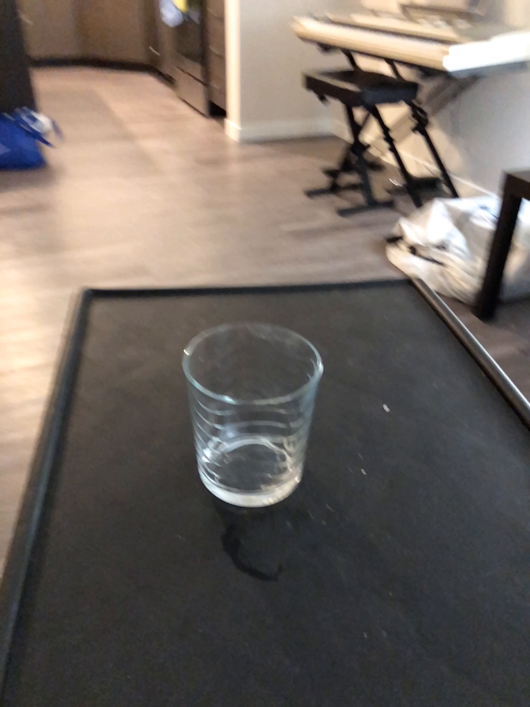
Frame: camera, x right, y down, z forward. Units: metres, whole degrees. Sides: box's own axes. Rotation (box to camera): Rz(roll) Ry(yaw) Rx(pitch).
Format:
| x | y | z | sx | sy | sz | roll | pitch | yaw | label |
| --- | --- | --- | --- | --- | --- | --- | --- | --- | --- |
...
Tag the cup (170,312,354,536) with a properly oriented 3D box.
| x | y | z | sx | sy | sz | roll | pitch | yaw | label |
| --- | --- | --- | --- | --- | --- | --- | --- | --- | --- |
| -0.006 | 0.044 | 0.402 | 0.090 | 0.099 | 0.090 | 1 | 33 | -1 | cup |
